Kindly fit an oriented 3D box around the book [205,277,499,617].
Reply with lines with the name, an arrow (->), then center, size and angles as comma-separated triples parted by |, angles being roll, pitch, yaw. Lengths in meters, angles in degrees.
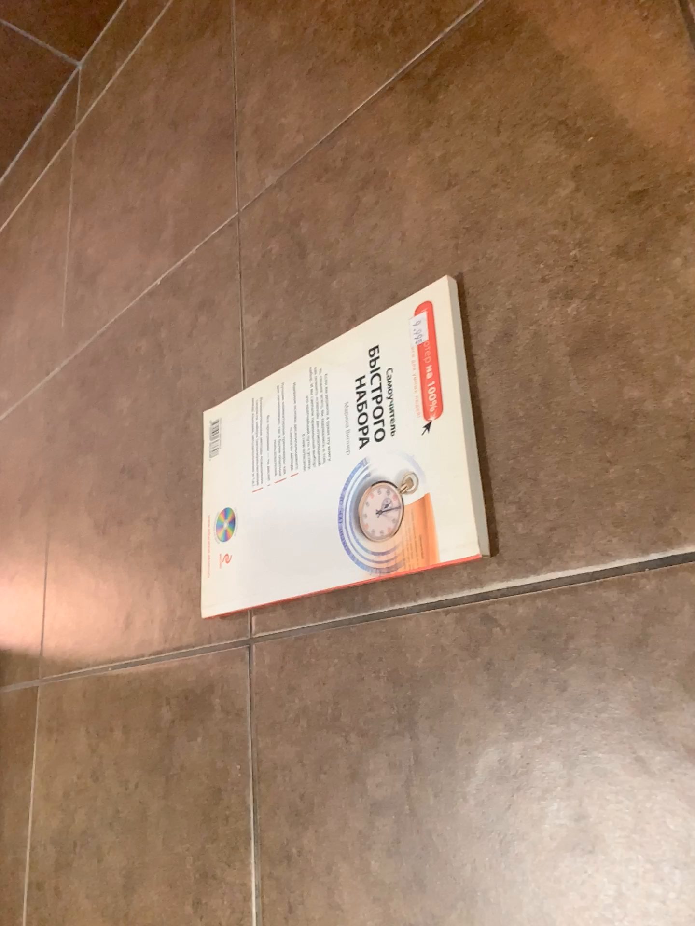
book -> -0.016, 0.004, 0.392 | 0.211, 0.009, 0.134 | -21, 65, 42
